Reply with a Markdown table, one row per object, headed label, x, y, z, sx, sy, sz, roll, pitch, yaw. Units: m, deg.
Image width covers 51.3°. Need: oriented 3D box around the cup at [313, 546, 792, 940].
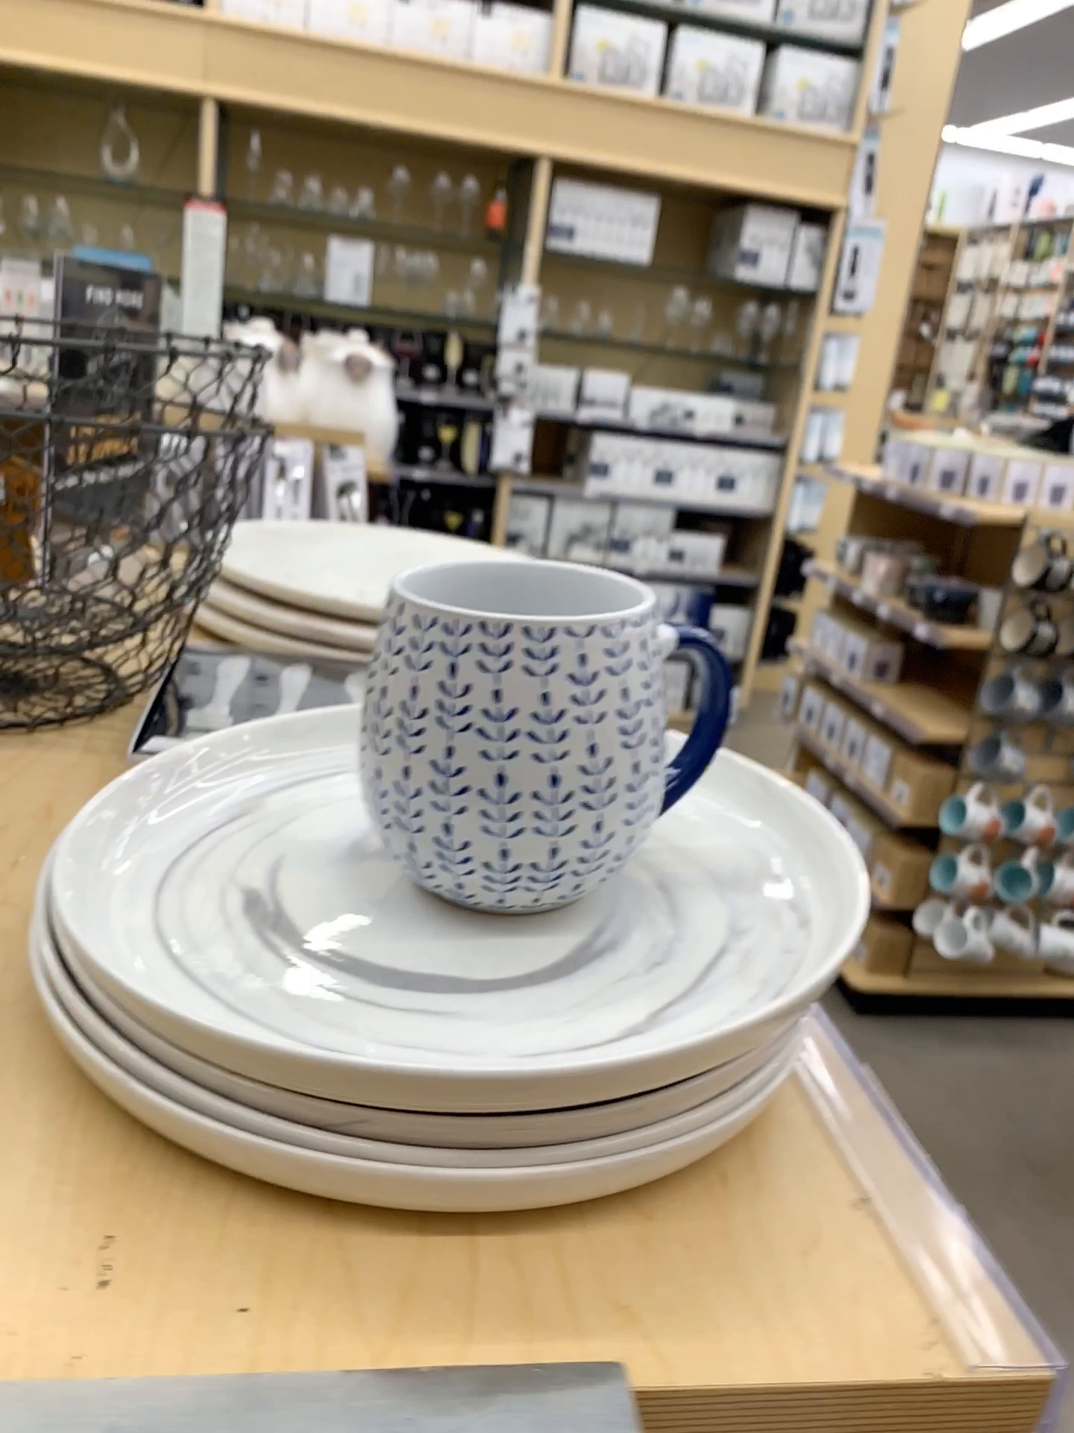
| label | x | y | z | sx | sy | sz | roll | pitch | yaw |
| --- | --- | --- | --- | --- | --- | --- | --- | --- | --- |
| cup | -0.001 | 0.000 | 0.396 | 0.128 | 0.097 | 0.104 | -5 | 23 | -27 |
